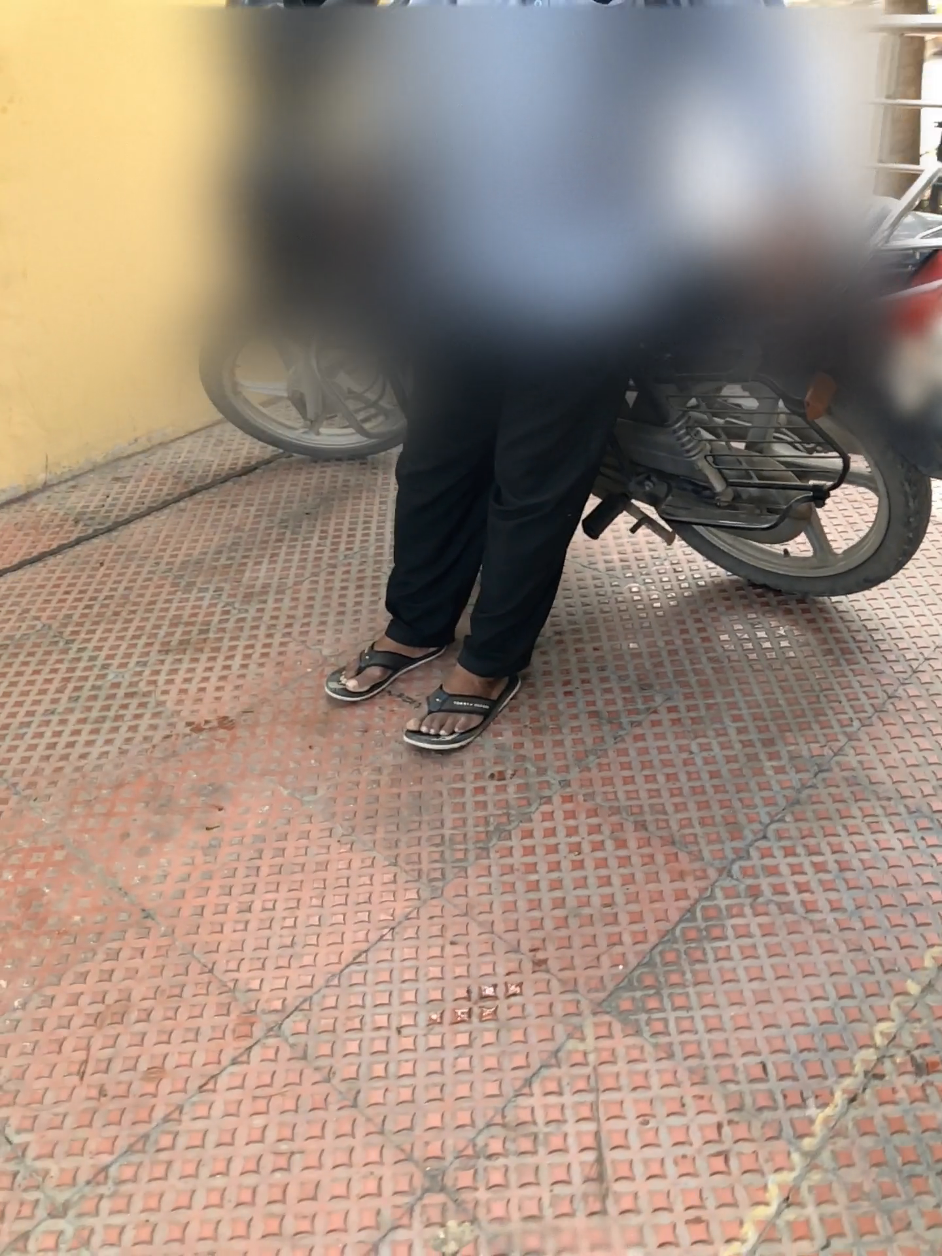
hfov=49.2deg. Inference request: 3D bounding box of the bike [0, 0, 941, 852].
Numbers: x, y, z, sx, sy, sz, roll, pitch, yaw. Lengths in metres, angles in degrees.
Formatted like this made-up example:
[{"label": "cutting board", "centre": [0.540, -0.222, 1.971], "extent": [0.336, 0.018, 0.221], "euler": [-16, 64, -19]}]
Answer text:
[{"label": "bike", "centre": [-0.068, -0.554, 1.844], "extent": [1.673, 1.007, 0.926], "euler": [17, 39, 26]}]
